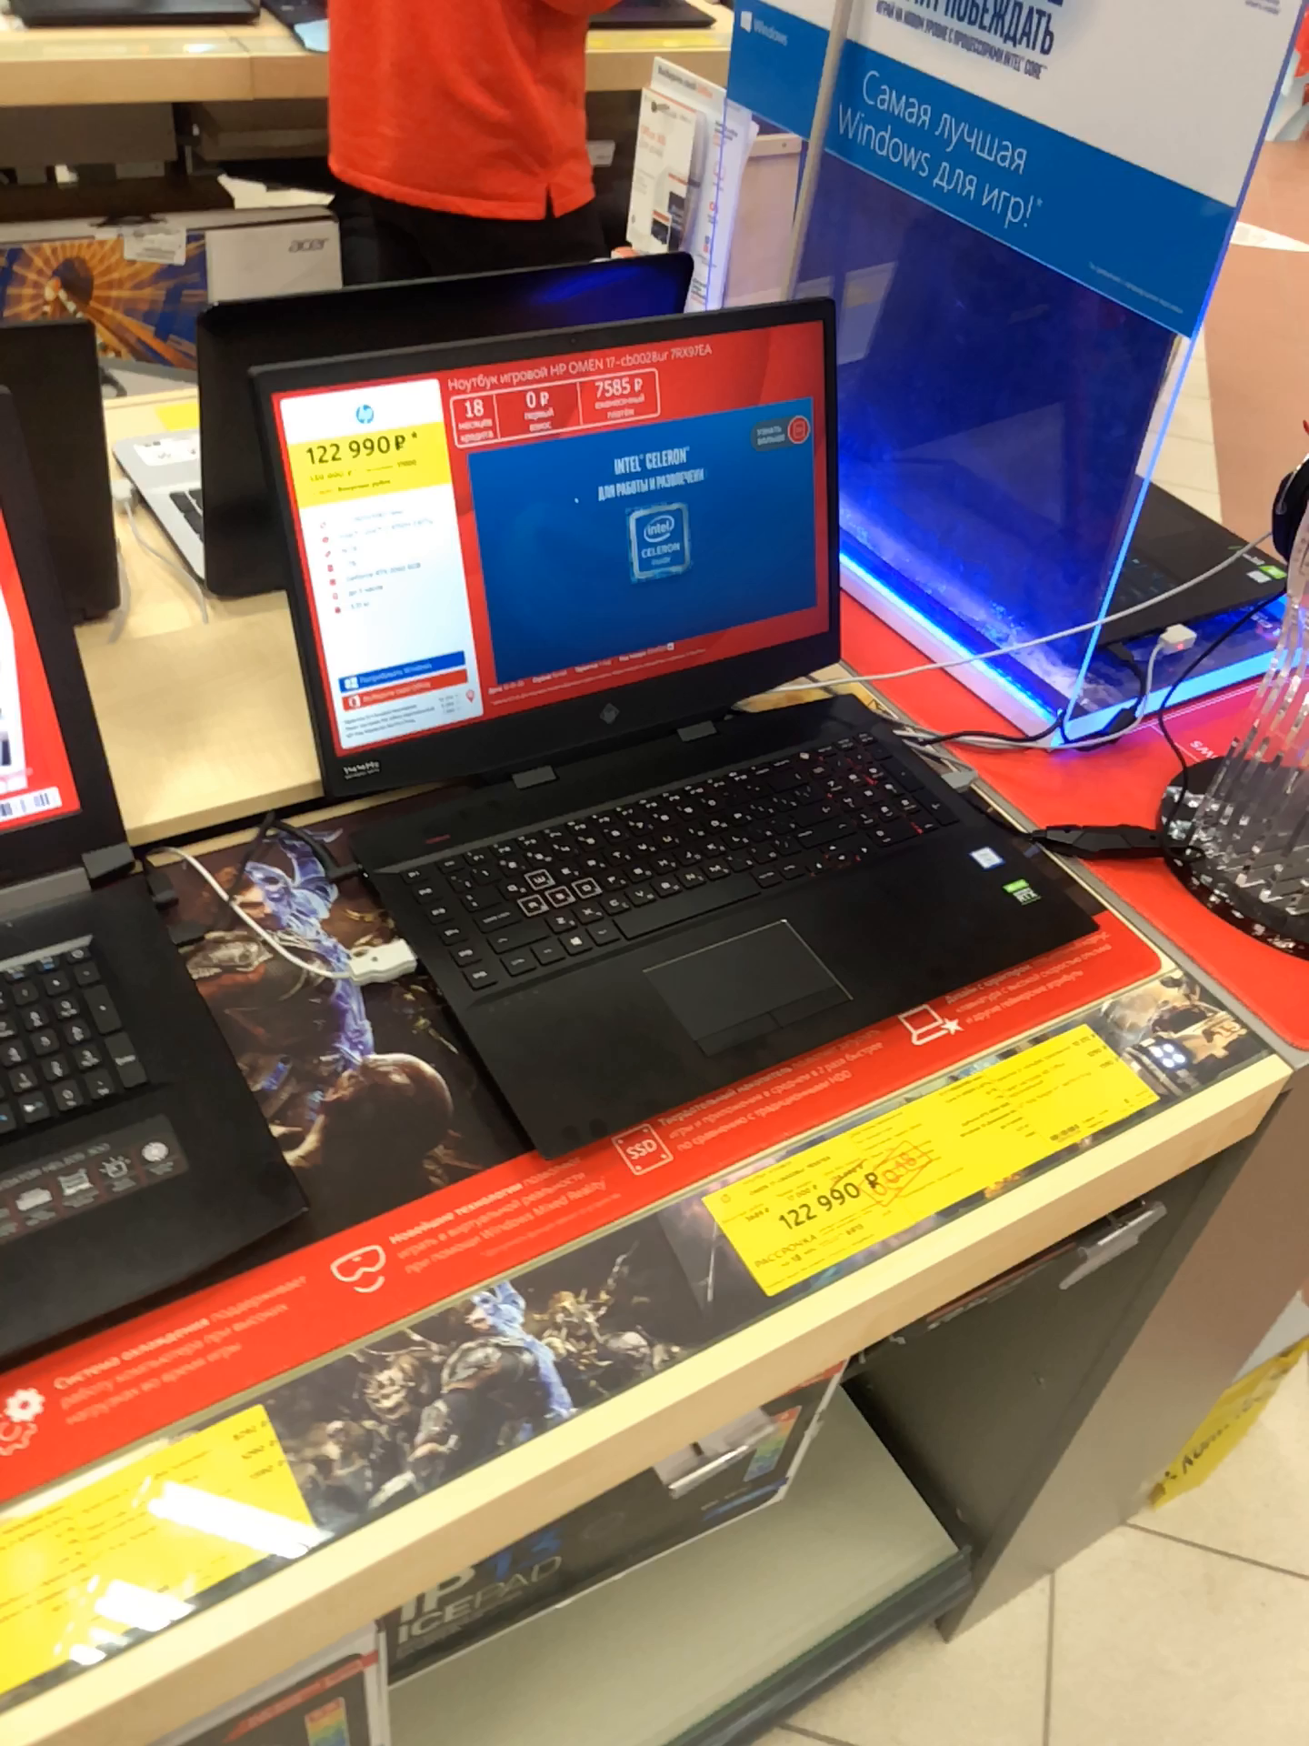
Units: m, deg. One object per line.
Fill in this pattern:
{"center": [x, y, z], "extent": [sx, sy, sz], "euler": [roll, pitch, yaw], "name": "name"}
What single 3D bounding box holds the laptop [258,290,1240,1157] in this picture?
{"center": [0.029, -0.123, 0.849], "extent": [0.392, 0.246, 0.376], "euler": [-18, 49, -26], "name": "laptop"}
